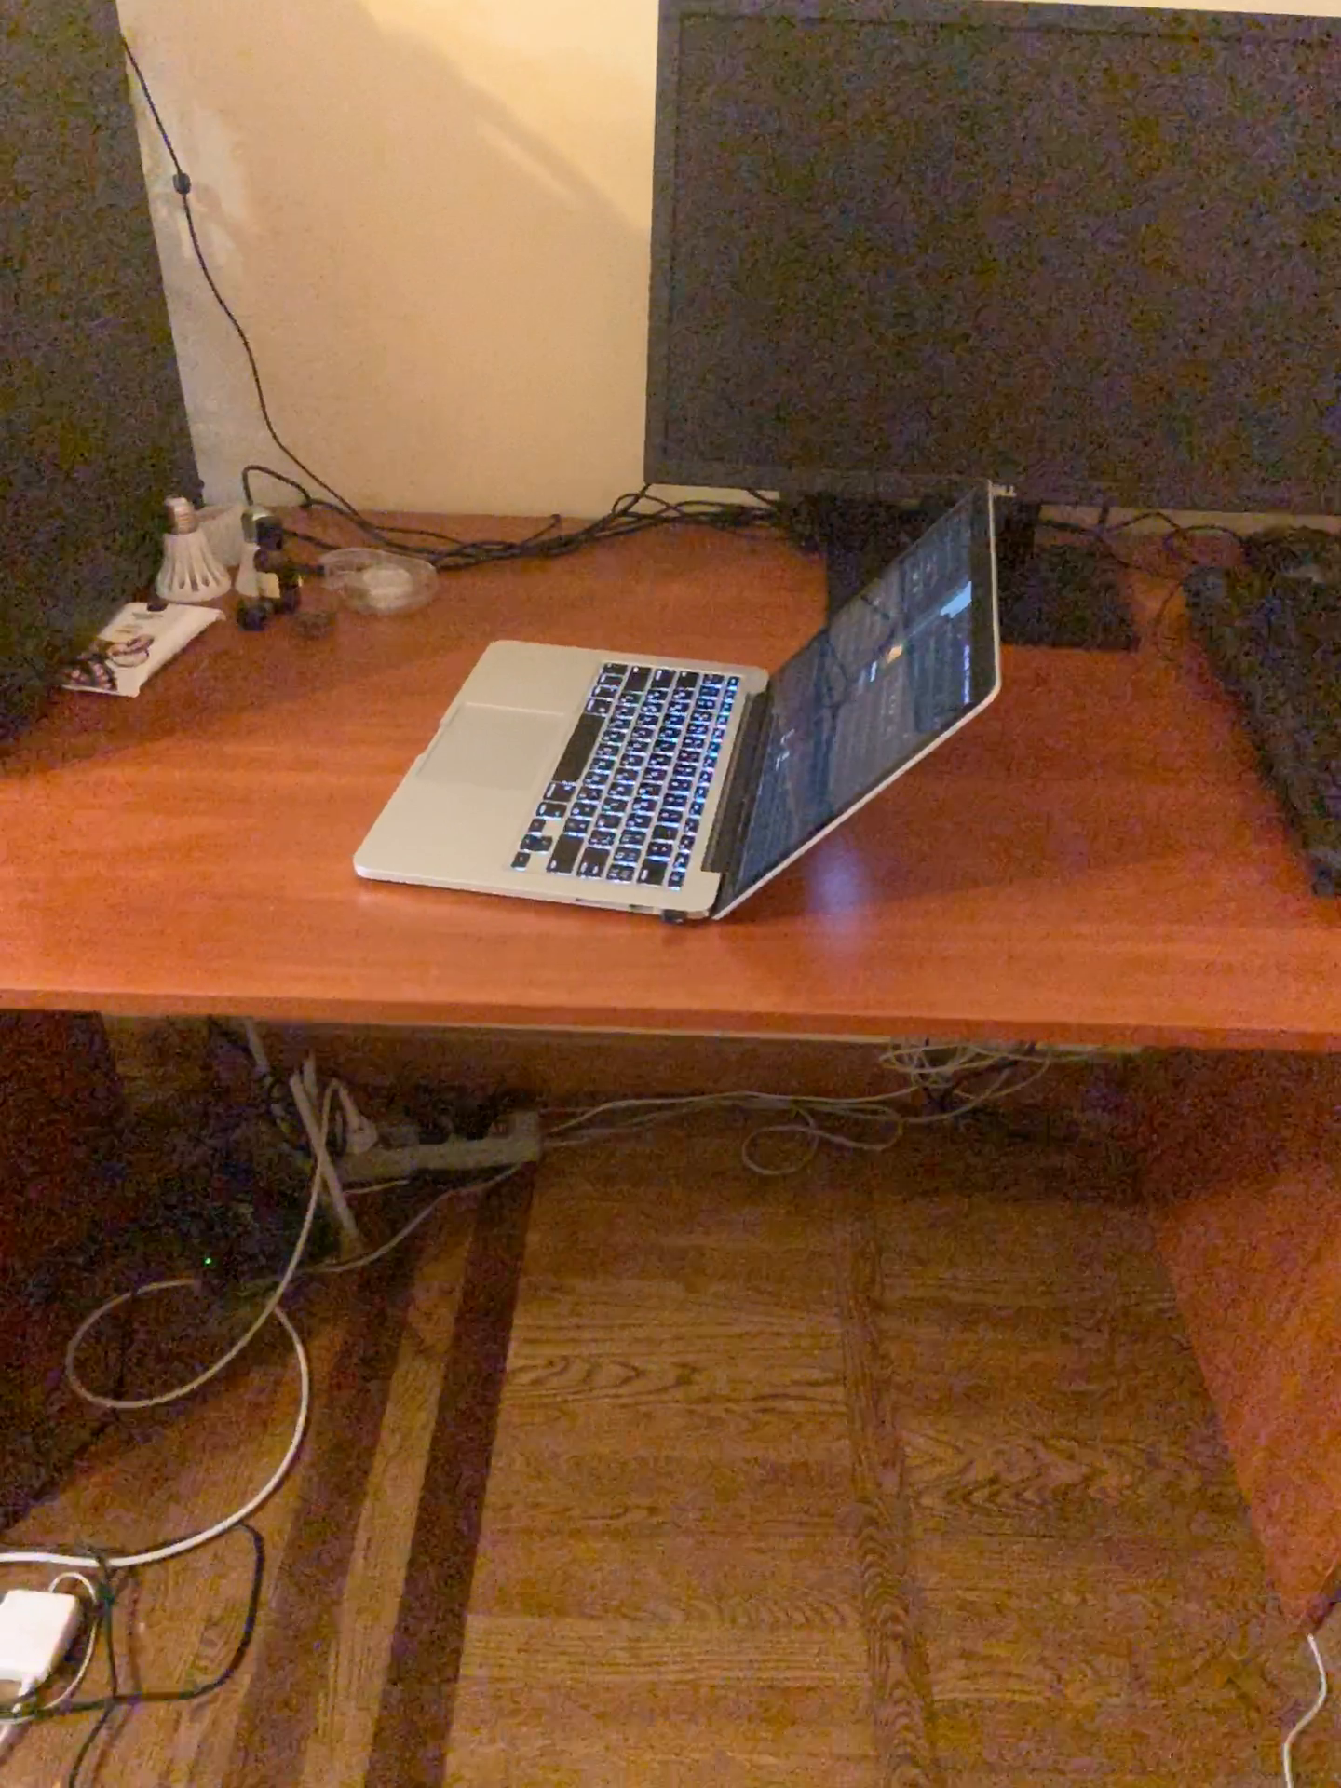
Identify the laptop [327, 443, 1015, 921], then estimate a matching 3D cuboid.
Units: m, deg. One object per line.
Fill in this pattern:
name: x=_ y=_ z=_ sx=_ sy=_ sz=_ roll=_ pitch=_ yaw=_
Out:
laptop: x=0.019 y=-0.141 z=0.801 sx=0.333 sy=0.139 sz=0.287 roll=5 pitch=37 yaw=7
